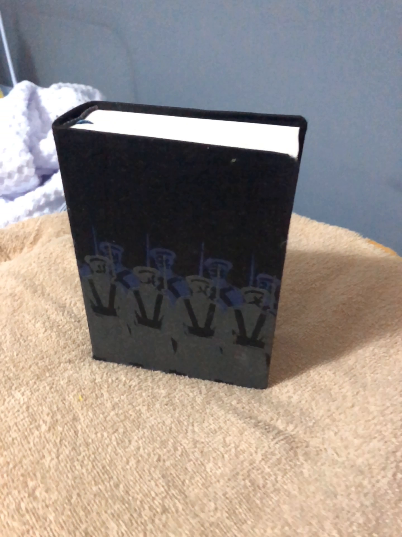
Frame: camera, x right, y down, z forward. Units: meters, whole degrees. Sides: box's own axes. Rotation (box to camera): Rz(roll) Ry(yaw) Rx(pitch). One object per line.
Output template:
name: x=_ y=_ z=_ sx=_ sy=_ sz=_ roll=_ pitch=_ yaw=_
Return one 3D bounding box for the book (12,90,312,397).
book: x=-0.018 y=-0.011 z=0.292 sx=0.150 sy=0.179 sz=0.060 roll=7 pitch=36 yaw=9
